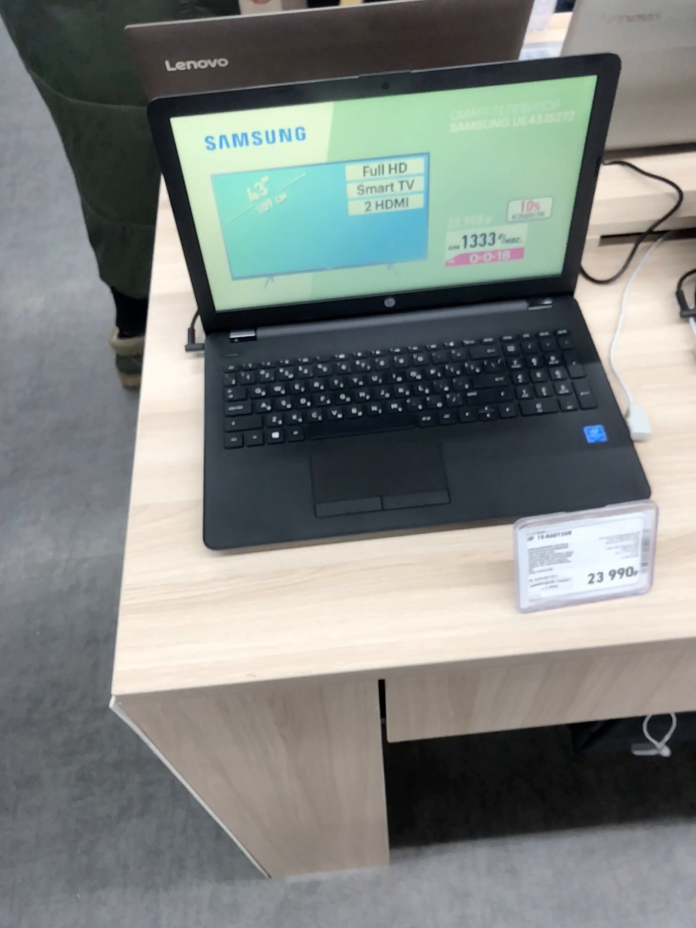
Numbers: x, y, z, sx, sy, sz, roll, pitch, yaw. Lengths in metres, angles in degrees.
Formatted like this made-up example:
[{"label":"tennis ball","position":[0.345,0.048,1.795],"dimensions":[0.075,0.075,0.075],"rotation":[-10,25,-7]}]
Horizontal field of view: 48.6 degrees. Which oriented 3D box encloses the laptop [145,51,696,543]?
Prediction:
[{"label":"laptop","position":[0.049,-0.132,0.621],"dimensions":[0.362,0.222,0.274],"rotation":[-6,54,-2]}]
